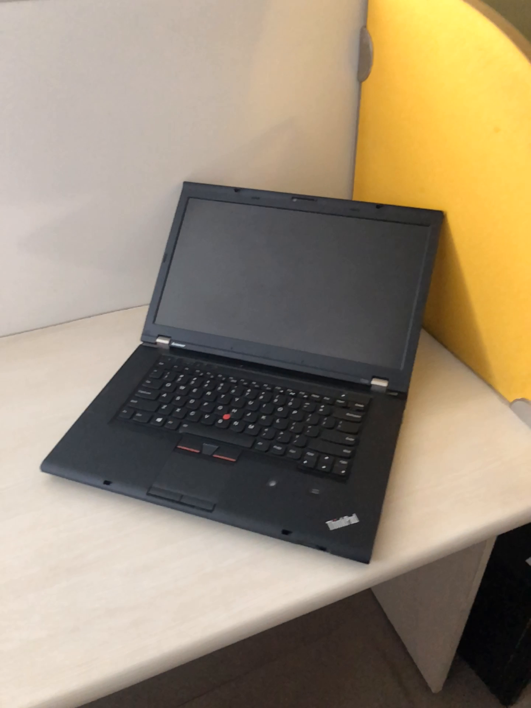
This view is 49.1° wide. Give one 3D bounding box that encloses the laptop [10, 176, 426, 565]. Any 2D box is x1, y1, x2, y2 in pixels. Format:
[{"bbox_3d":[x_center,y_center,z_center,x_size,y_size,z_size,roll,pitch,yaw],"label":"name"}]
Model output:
[{"bbox_3d":[-0.014,-0.031,0.696,0.353,0.143,0.420,11,42,13],"label":"laptop"}]
